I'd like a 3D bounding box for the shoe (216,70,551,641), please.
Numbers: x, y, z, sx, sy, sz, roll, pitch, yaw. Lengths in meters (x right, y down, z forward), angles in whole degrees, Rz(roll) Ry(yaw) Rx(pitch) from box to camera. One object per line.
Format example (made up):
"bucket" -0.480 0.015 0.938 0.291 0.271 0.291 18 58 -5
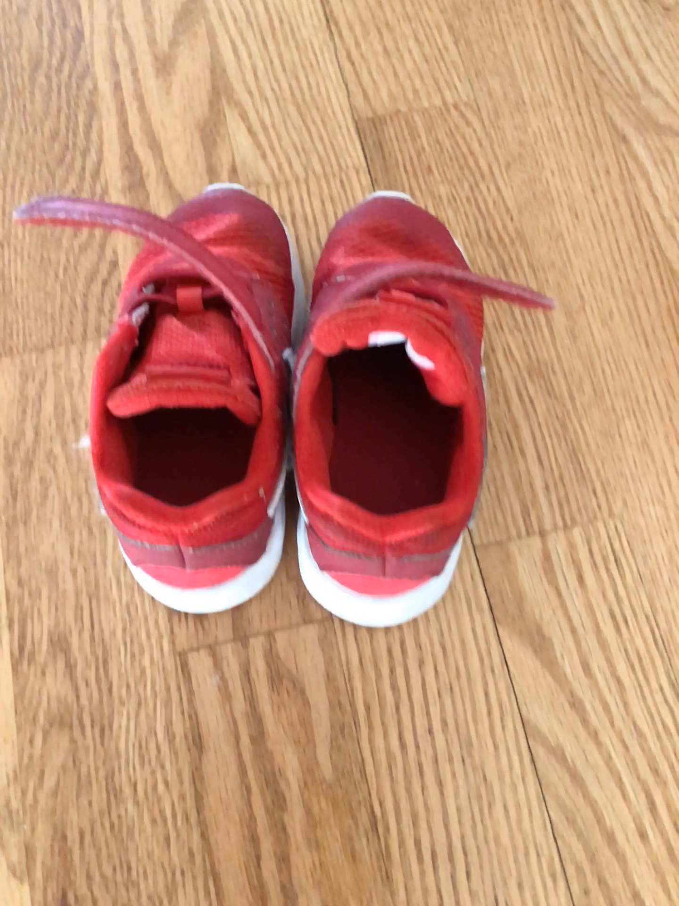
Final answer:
"shoe" 0.017 -0.032 0.260 0.088 0.069 0.177 4 71 0

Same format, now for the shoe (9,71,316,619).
"shoe" -0.050 -0.036 0.261 0.080 0.069 0.175 -1 71 -1
